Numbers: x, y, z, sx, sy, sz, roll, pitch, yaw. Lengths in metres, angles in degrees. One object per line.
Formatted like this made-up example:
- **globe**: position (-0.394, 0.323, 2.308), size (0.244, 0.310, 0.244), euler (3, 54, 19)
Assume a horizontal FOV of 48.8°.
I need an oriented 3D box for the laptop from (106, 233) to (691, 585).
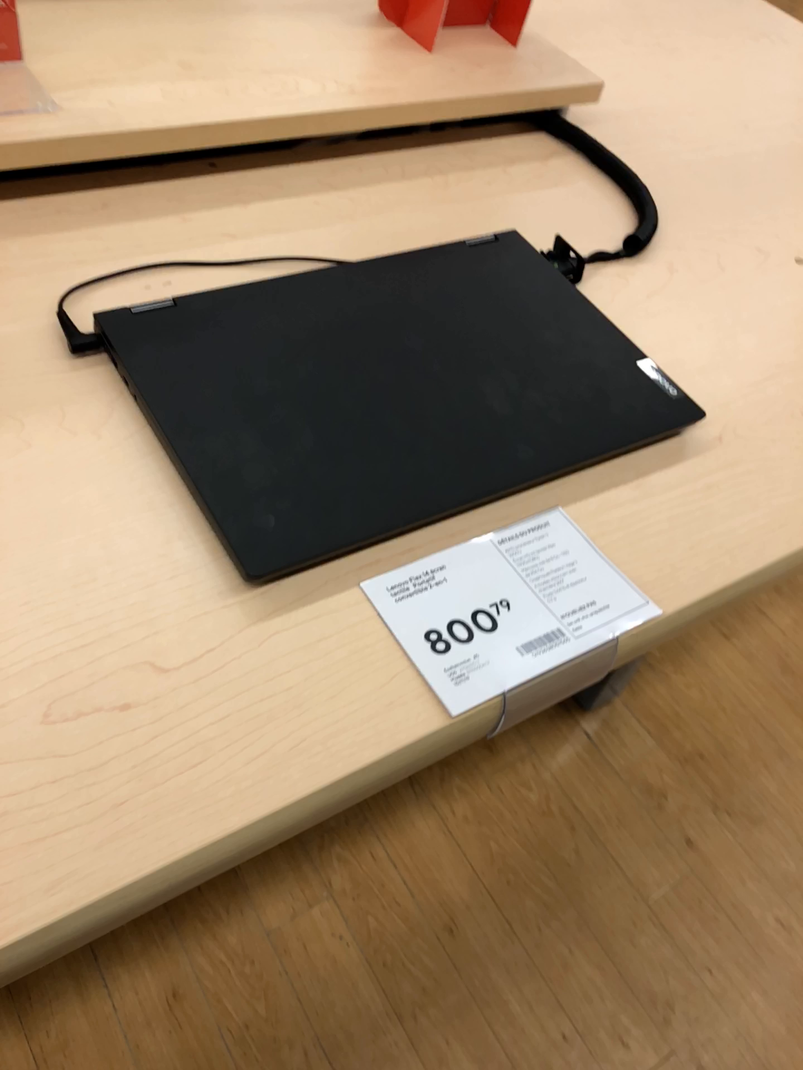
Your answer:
- **laptop**: position (0.007, -0.106, 0.570), size (0.327, 0.009, 0.211), euler (-20, 59, -28)
